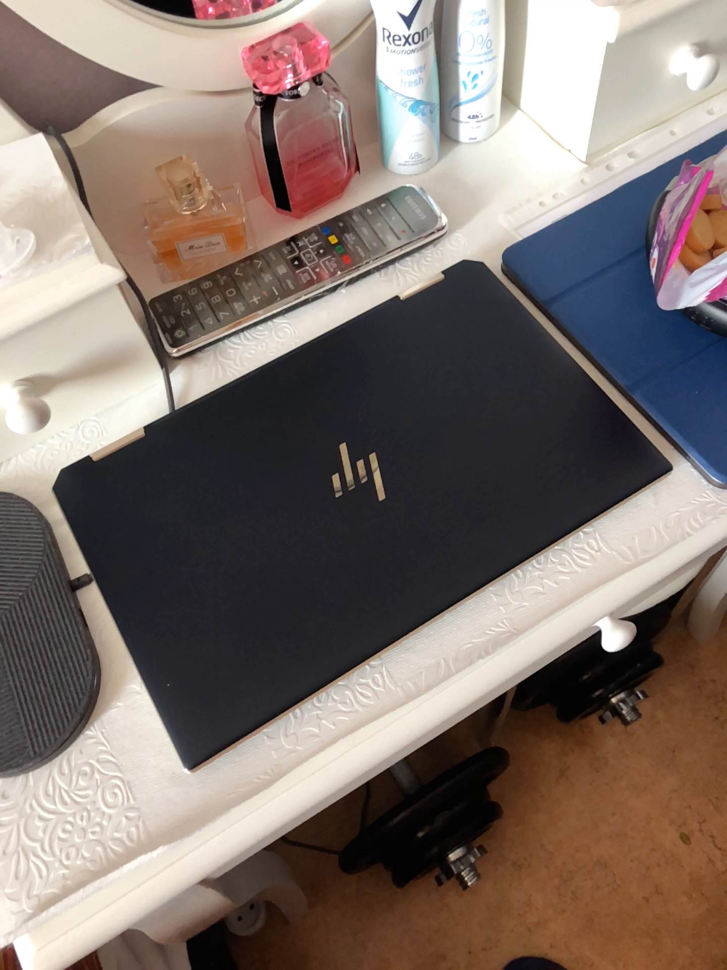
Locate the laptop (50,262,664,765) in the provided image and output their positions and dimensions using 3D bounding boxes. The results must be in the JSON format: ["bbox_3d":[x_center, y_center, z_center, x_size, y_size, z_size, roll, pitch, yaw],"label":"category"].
[{"bbox_3d":[0.000,-0.006,0.406,0.267,0.007,0.160,-29,67,-17],"label":"laptop"}]
